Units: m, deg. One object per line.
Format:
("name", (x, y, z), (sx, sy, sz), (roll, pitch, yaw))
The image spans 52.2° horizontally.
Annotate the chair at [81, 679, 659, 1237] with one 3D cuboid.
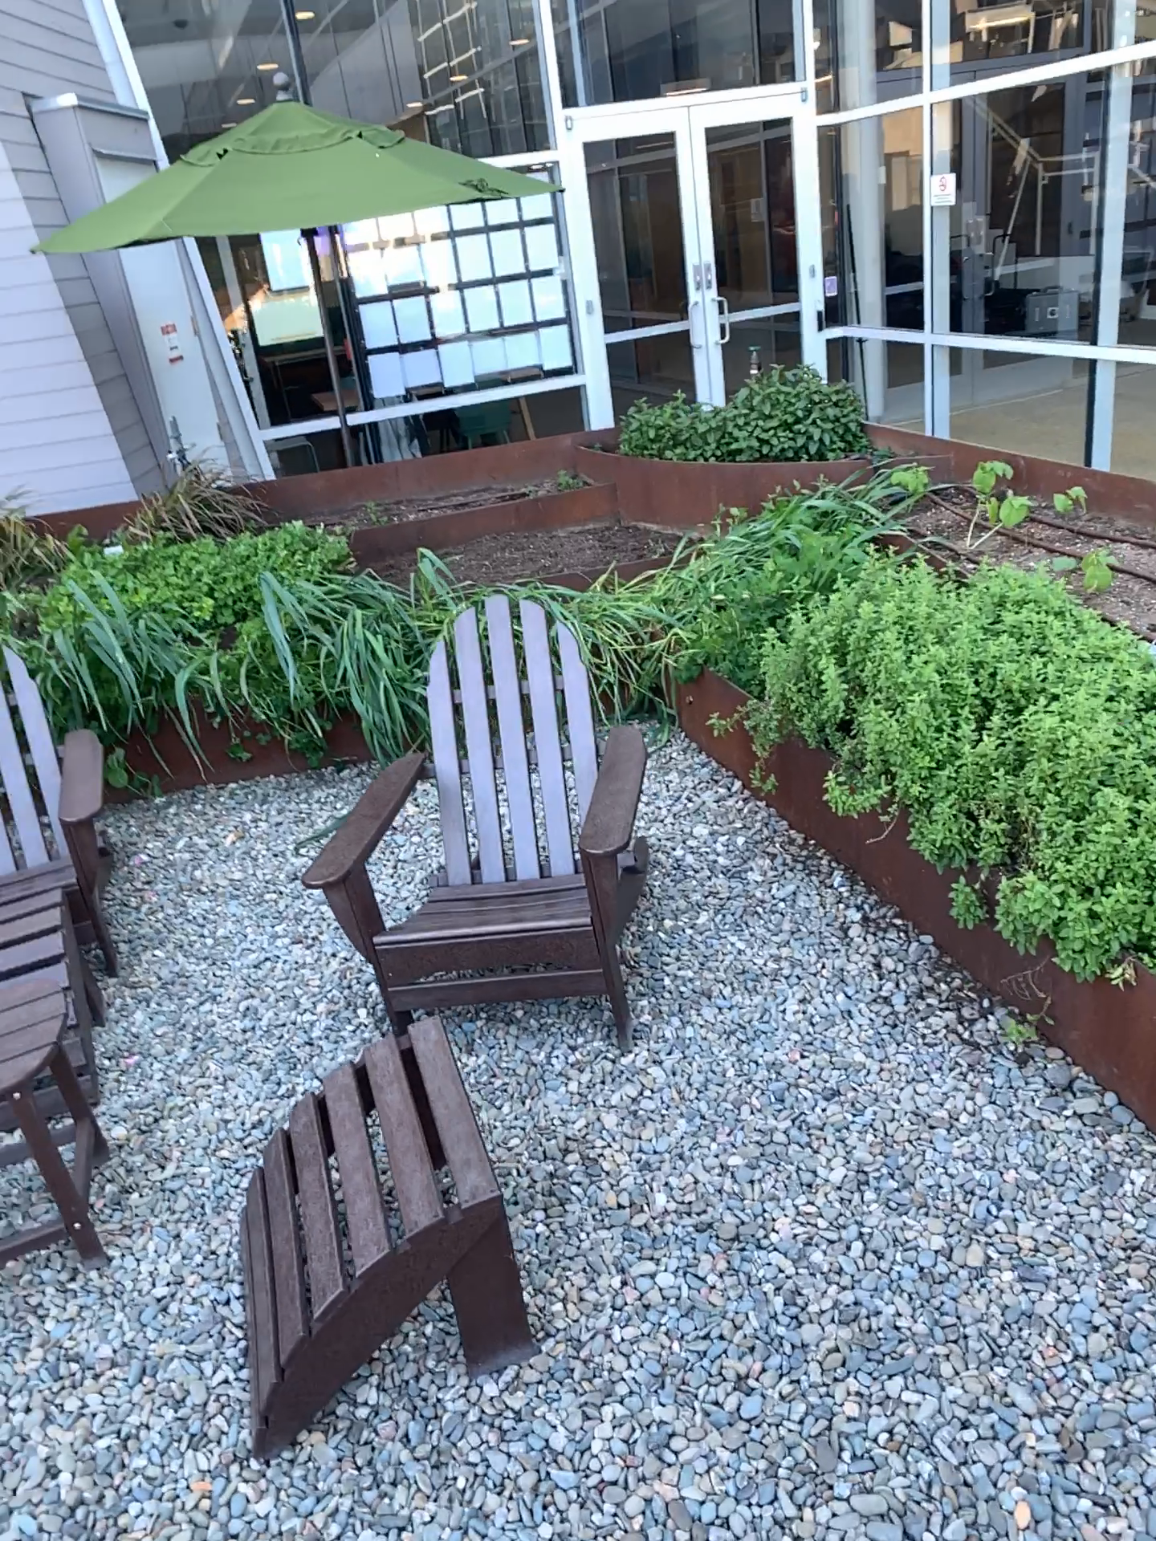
("chair", (-0.450, 0.411, 3.167), (1.001, 0.994, 1.005), (2, 26, 21))
